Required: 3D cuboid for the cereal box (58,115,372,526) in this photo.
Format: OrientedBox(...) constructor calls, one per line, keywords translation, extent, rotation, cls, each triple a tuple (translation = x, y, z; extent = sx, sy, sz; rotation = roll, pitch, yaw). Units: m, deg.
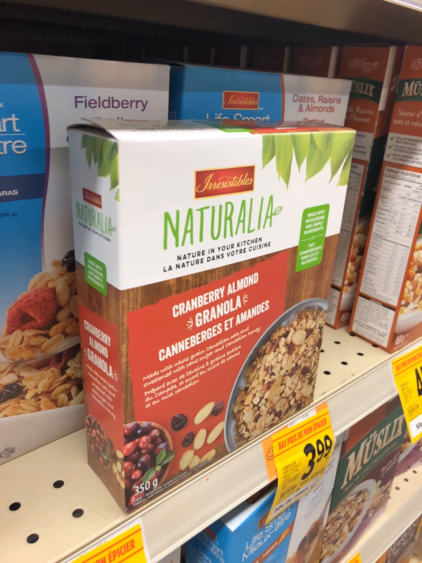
OrientedBox(translation=(0.005, 0.011, 0.291), extent=(0.171, 0.209, 0.060), rotation=(-16, 31, -38), cls="cereal box")
